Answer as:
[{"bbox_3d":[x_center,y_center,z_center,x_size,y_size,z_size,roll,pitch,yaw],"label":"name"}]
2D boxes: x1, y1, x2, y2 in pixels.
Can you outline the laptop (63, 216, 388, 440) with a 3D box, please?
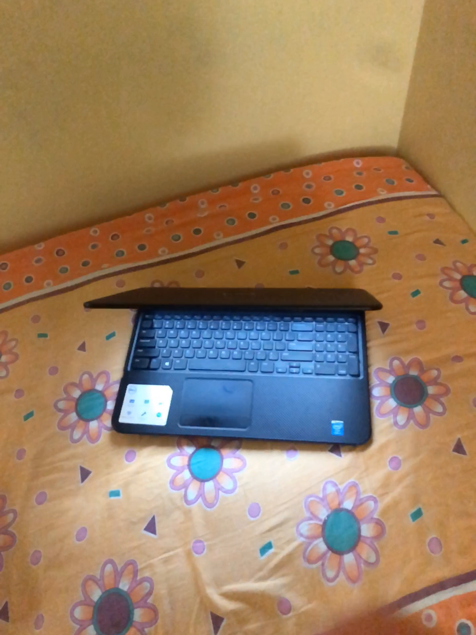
[{"bbox_3d":[-0.003,0.016,0.720,0.366,0.190,0.238,1,58,8],"label":"laptop"}]
